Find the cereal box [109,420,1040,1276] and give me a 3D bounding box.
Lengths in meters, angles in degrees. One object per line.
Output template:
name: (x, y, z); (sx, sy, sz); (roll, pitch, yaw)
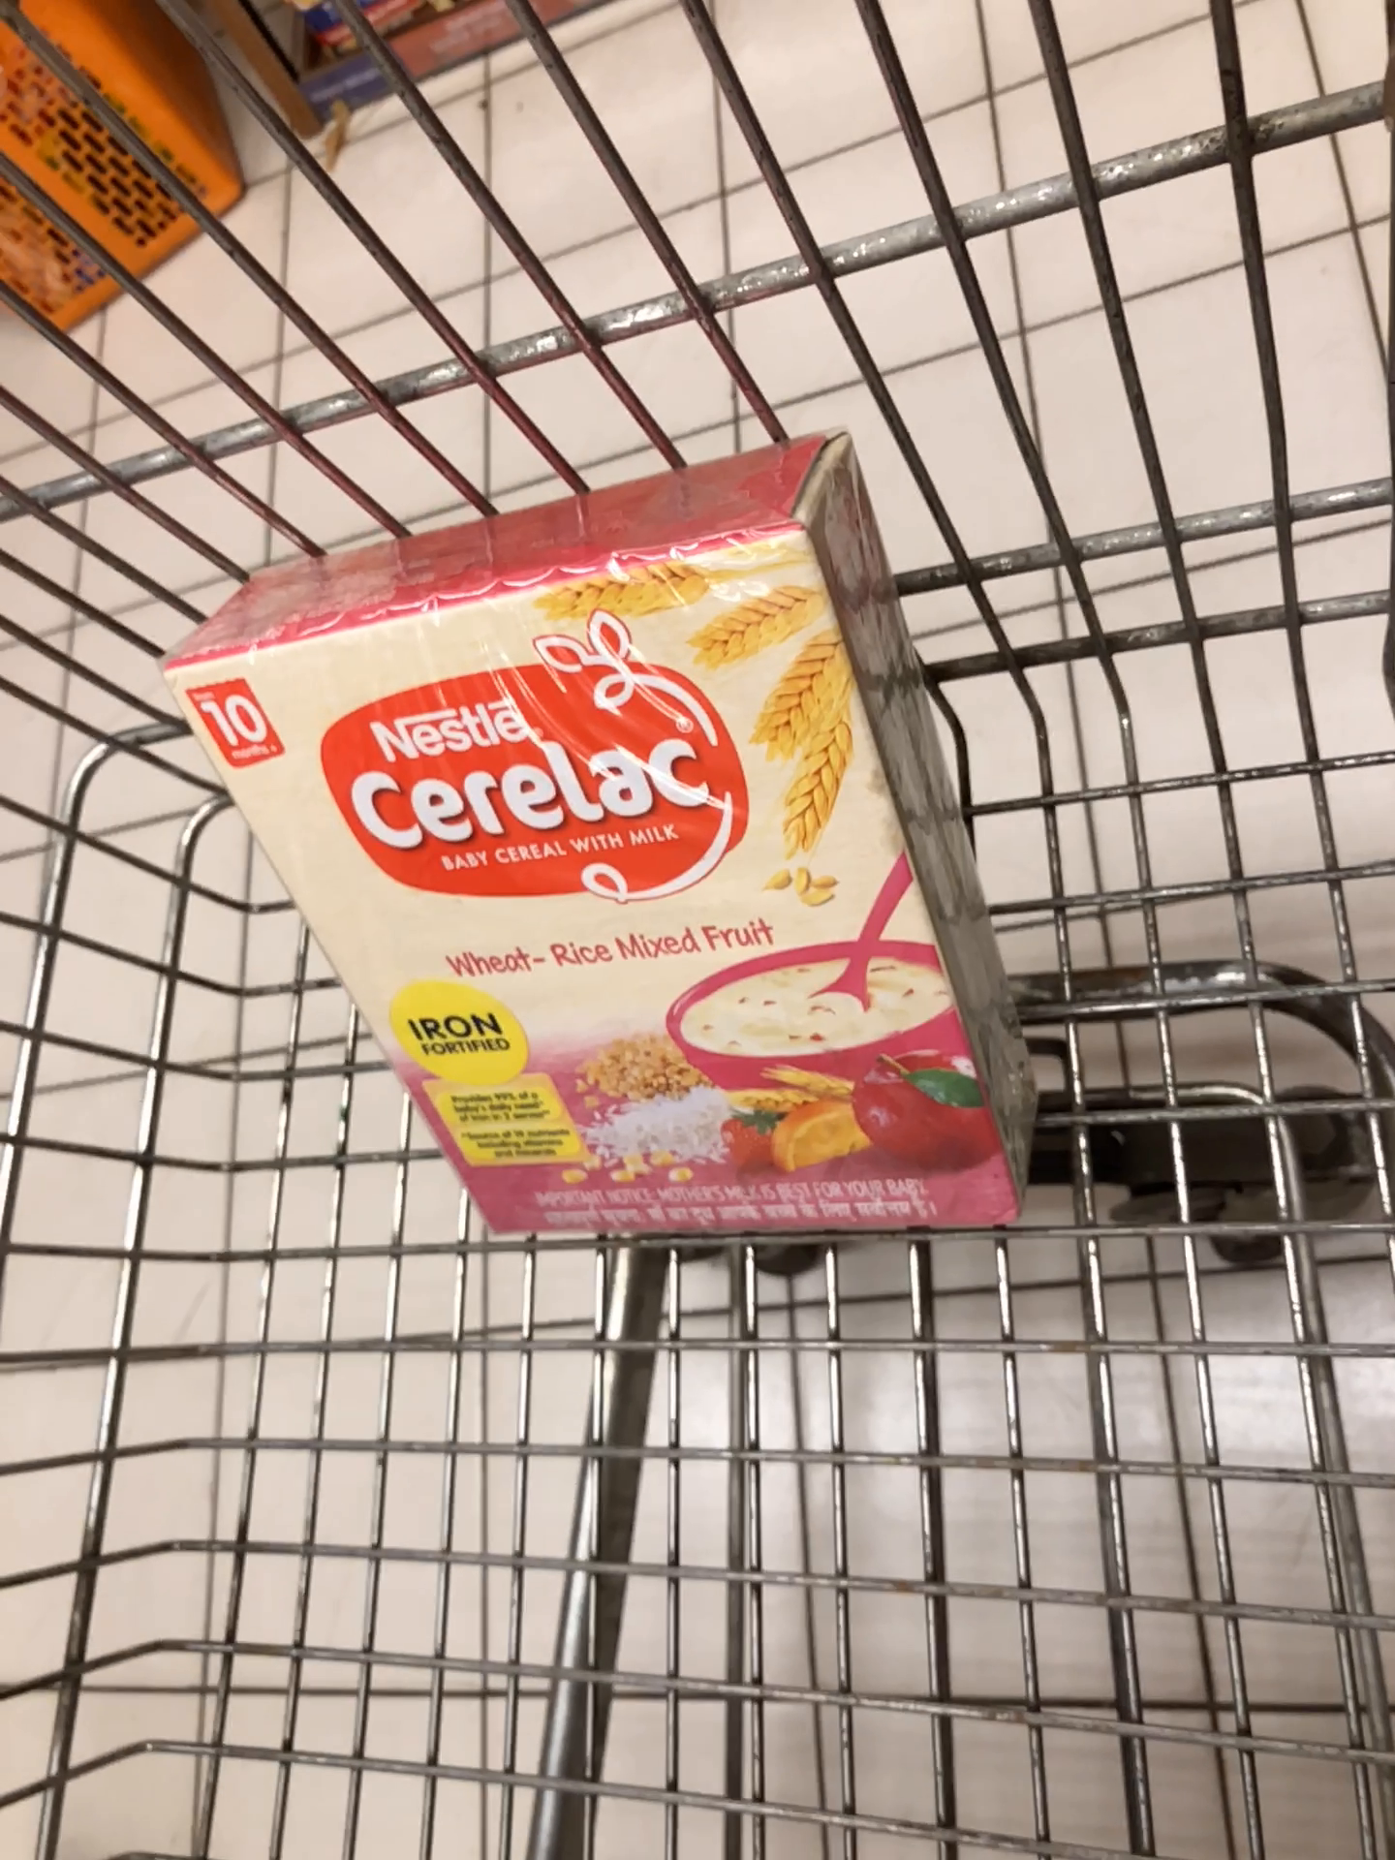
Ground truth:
cereal box: (-0.016, -0.004, 0.359); (0.150, 0.179, 0.060); (-7, 36, 22)
